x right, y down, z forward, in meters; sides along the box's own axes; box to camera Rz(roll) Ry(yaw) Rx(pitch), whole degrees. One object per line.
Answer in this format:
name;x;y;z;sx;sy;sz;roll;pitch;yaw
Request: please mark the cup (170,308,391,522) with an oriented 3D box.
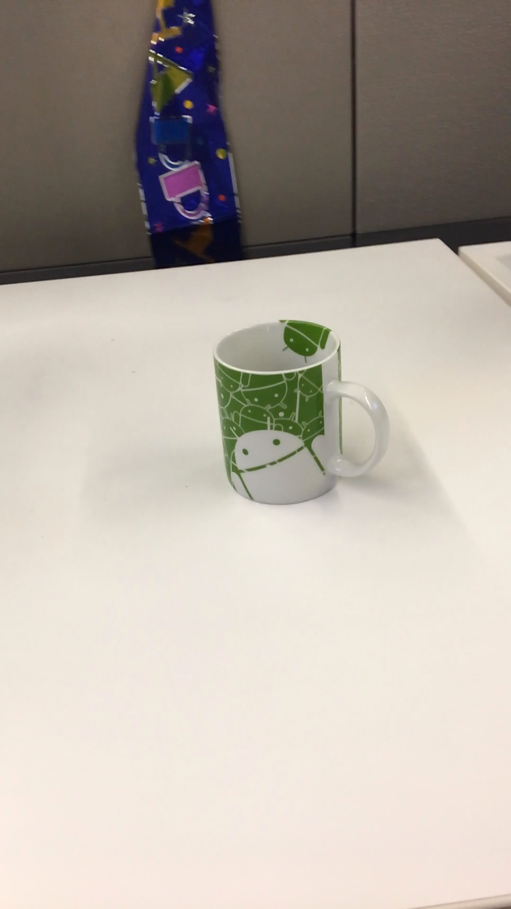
cup;0.021;-0.028;0.467;0.110;0.090;0.090;6;34;16
